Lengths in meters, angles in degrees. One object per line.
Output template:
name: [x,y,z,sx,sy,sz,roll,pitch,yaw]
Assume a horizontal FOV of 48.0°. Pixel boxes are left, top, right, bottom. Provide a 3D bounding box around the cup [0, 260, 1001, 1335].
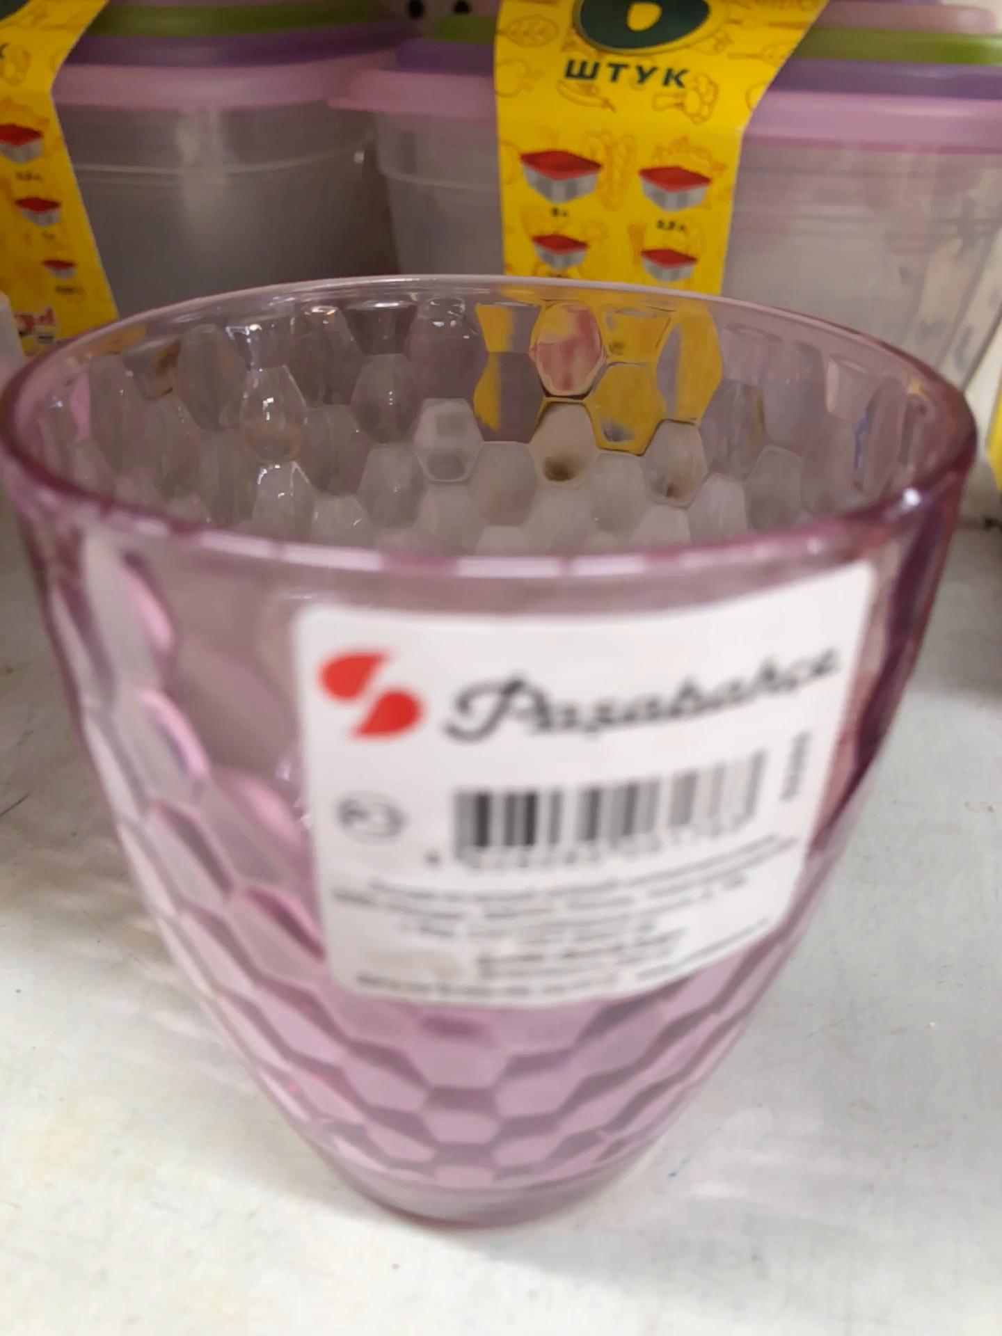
cup: [0.001,0.007,0.114,0.090,0.074,0.078,1,31,-2]
